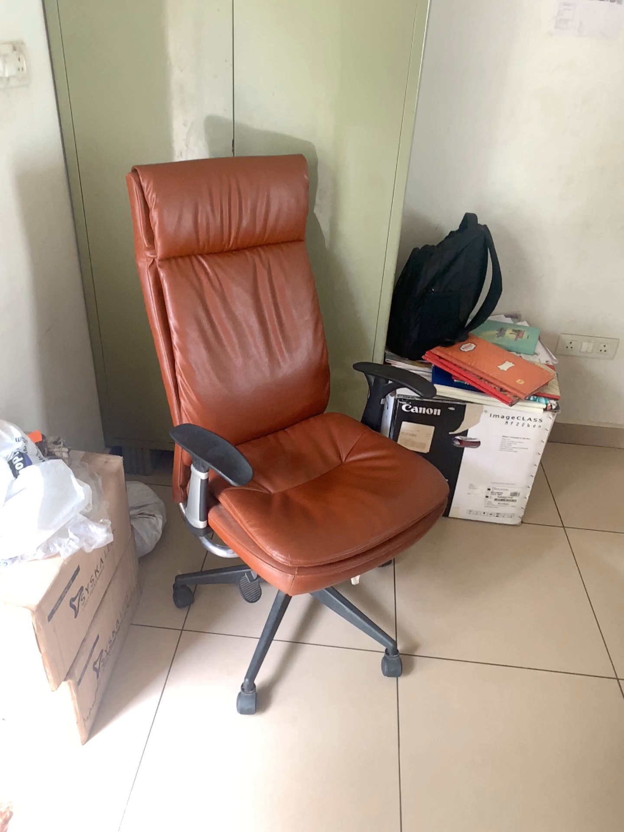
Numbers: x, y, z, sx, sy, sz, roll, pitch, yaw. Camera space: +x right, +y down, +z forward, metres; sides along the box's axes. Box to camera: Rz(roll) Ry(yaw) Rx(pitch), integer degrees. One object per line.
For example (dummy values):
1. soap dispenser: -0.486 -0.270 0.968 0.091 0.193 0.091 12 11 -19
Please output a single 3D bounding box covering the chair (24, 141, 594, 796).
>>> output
1. chair: -0.091 0.023 1.524 0.691 1.085 0.933 -20 40 -33
